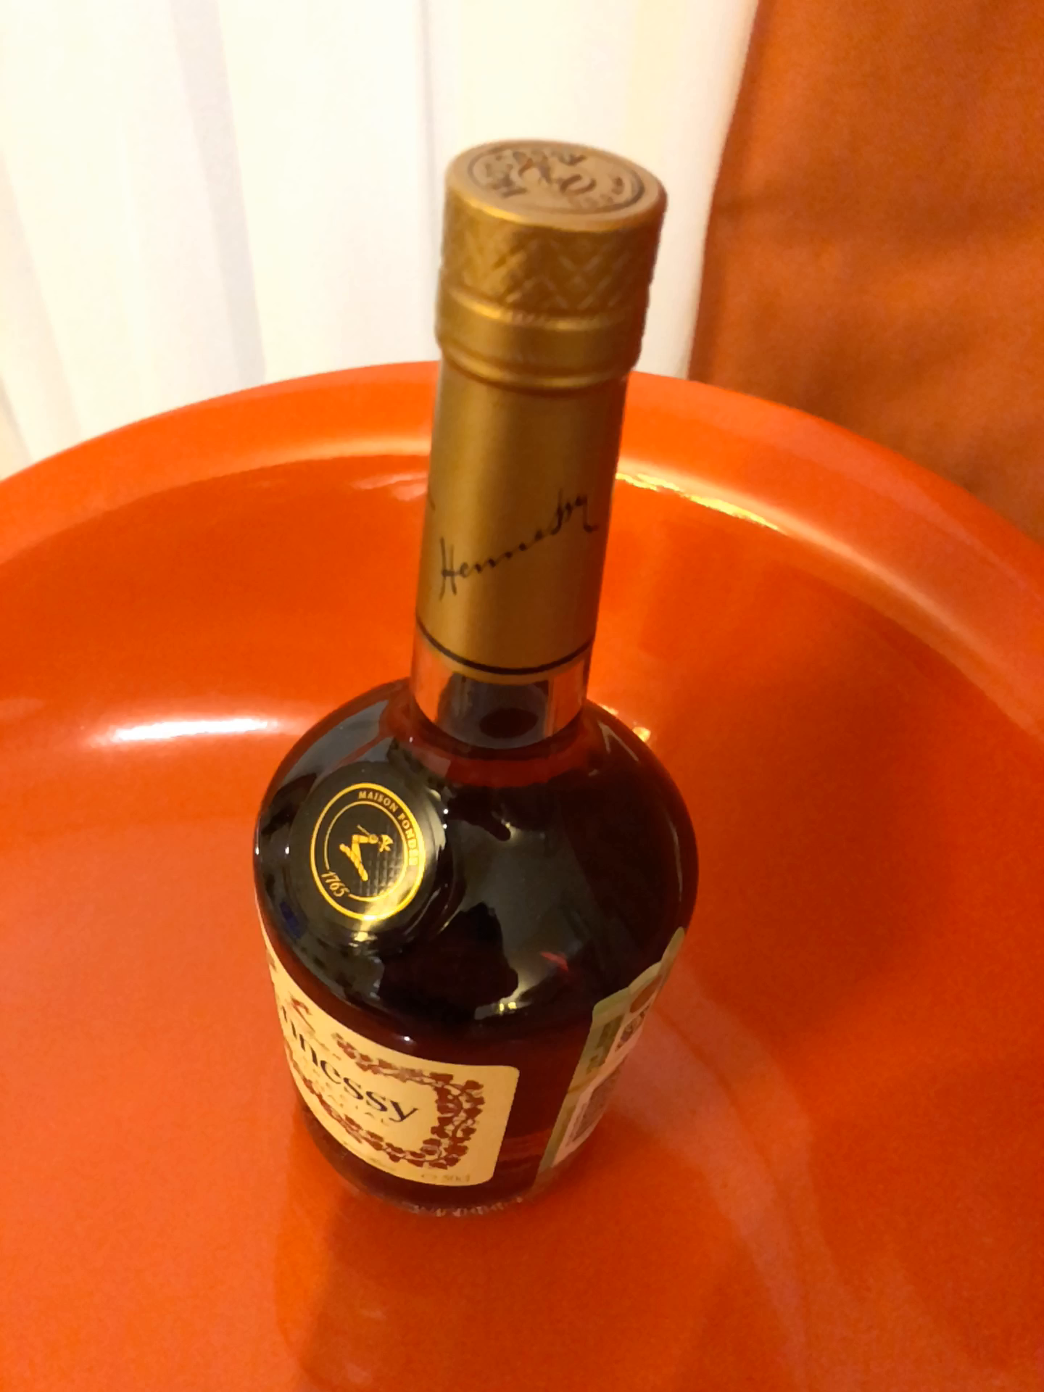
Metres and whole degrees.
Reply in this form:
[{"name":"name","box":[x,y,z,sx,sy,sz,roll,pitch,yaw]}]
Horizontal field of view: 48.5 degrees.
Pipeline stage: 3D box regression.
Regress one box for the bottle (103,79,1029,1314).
[{"name":"bottle","box":[-0.006,0.021,0.215,0.079,0.219,0.079,4,46,-4]}]
